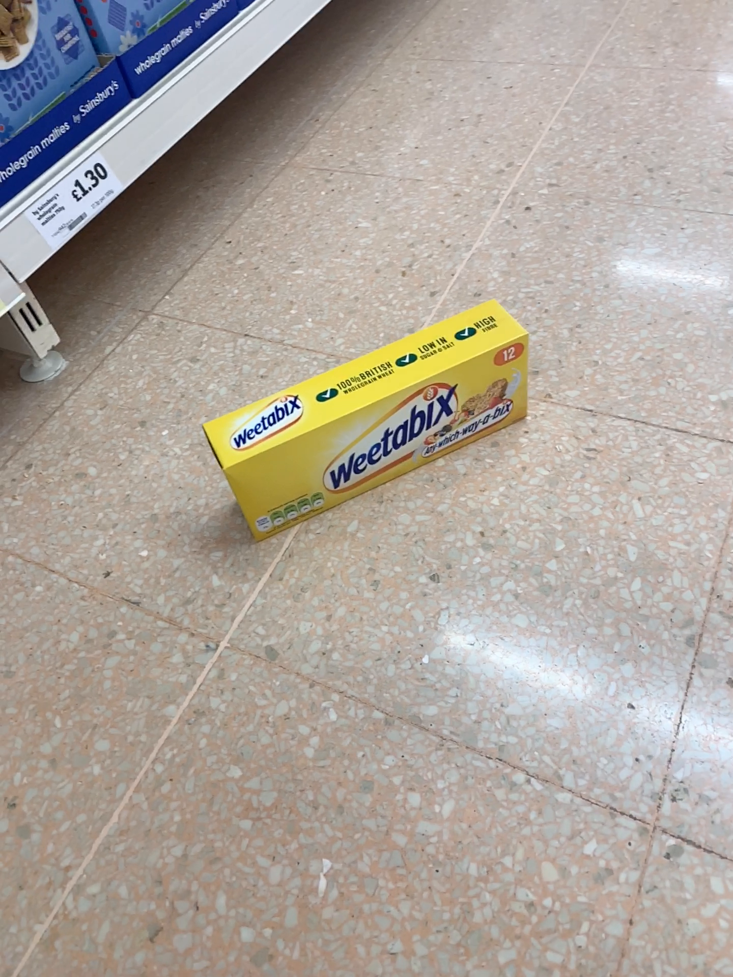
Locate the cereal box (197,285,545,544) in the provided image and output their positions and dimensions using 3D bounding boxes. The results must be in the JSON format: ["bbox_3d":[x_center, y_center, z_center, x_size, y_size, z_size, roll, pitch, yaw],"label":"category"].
[{"bbox_3d":[0.012,-0.057,0.585,0.260,0.099,0.050,-25,51,-8],"label":"cereal box"}]
